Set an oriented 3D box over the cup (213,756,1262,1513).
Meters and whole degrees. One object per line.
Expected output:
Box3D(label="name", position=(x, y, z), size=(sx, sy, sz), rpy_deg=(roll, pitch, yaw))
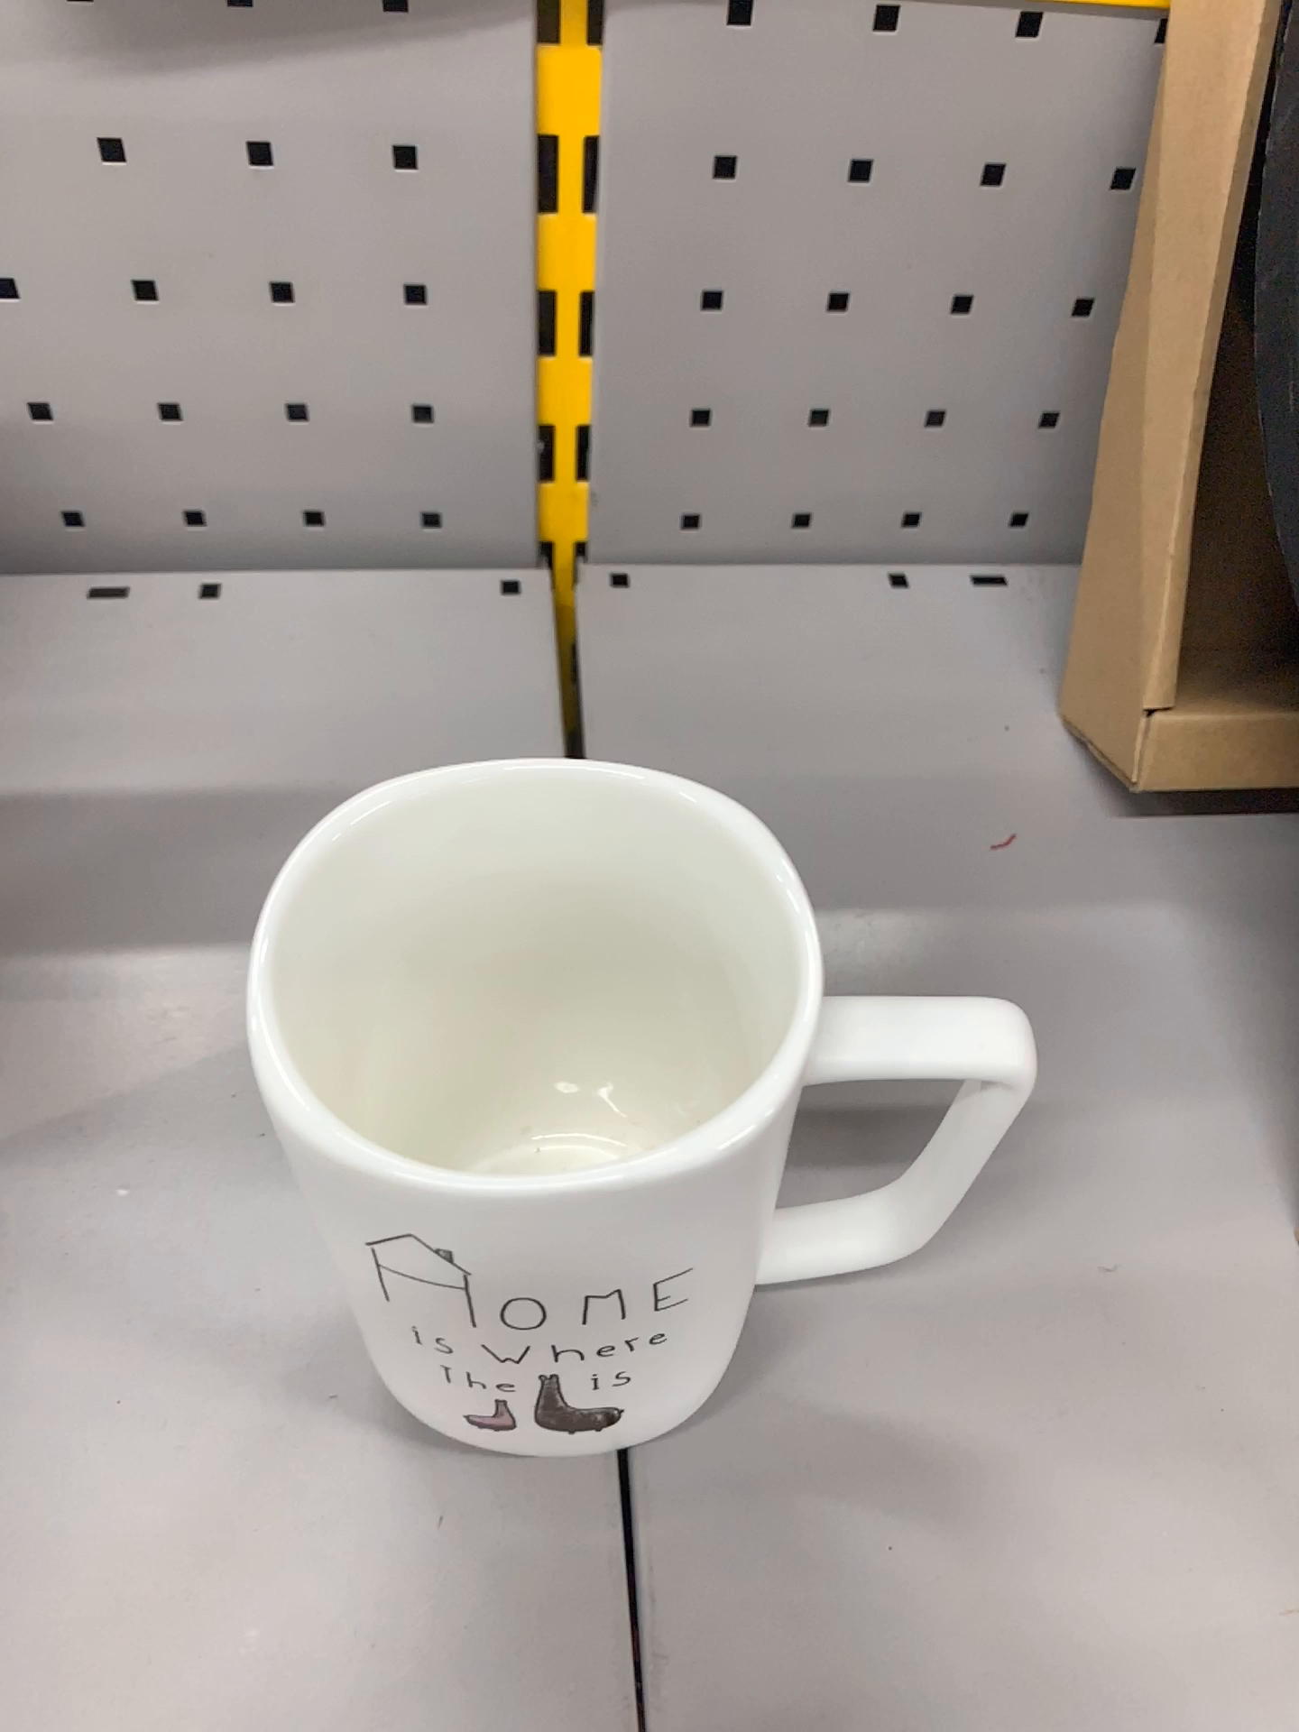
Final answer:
Box3D(label="cup", position=(0.006, 0.044, 0.212), size=(0.120, 0.100, 0.070), rpy_deg=(-2, 48, -6))
